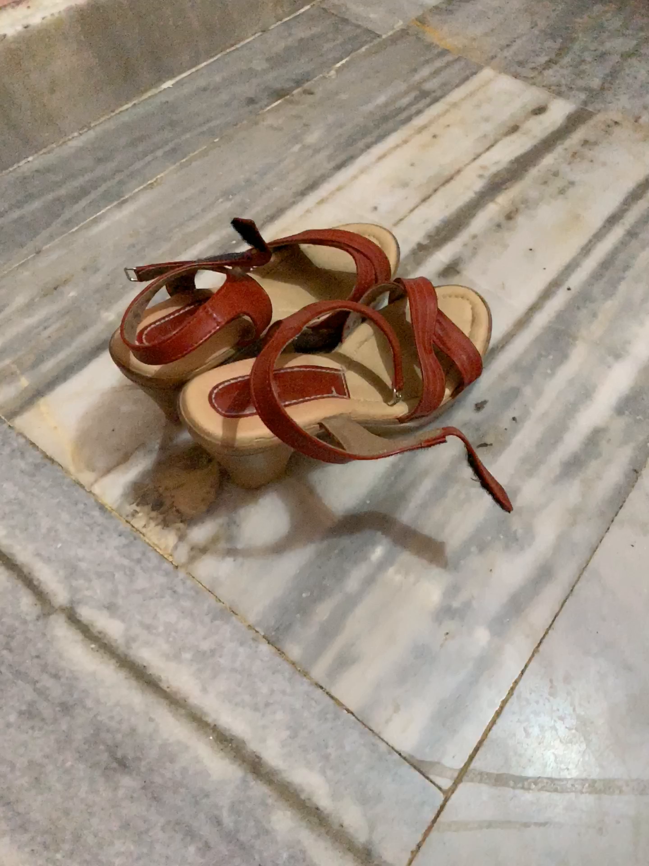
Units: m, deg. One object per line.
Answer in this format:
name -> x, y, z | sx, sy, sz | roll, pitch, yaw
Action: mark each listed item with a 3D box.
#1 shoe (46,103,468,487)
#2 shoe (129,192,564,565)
shoe -> -0.030, -0.096, 0.423 | 0.100, 0.100, 0.240 | 38, 61, 20
shoe -> 0.018, -0.041, 0.421 | 0.240, 0.100, 0.100 | -32, 63, -22
